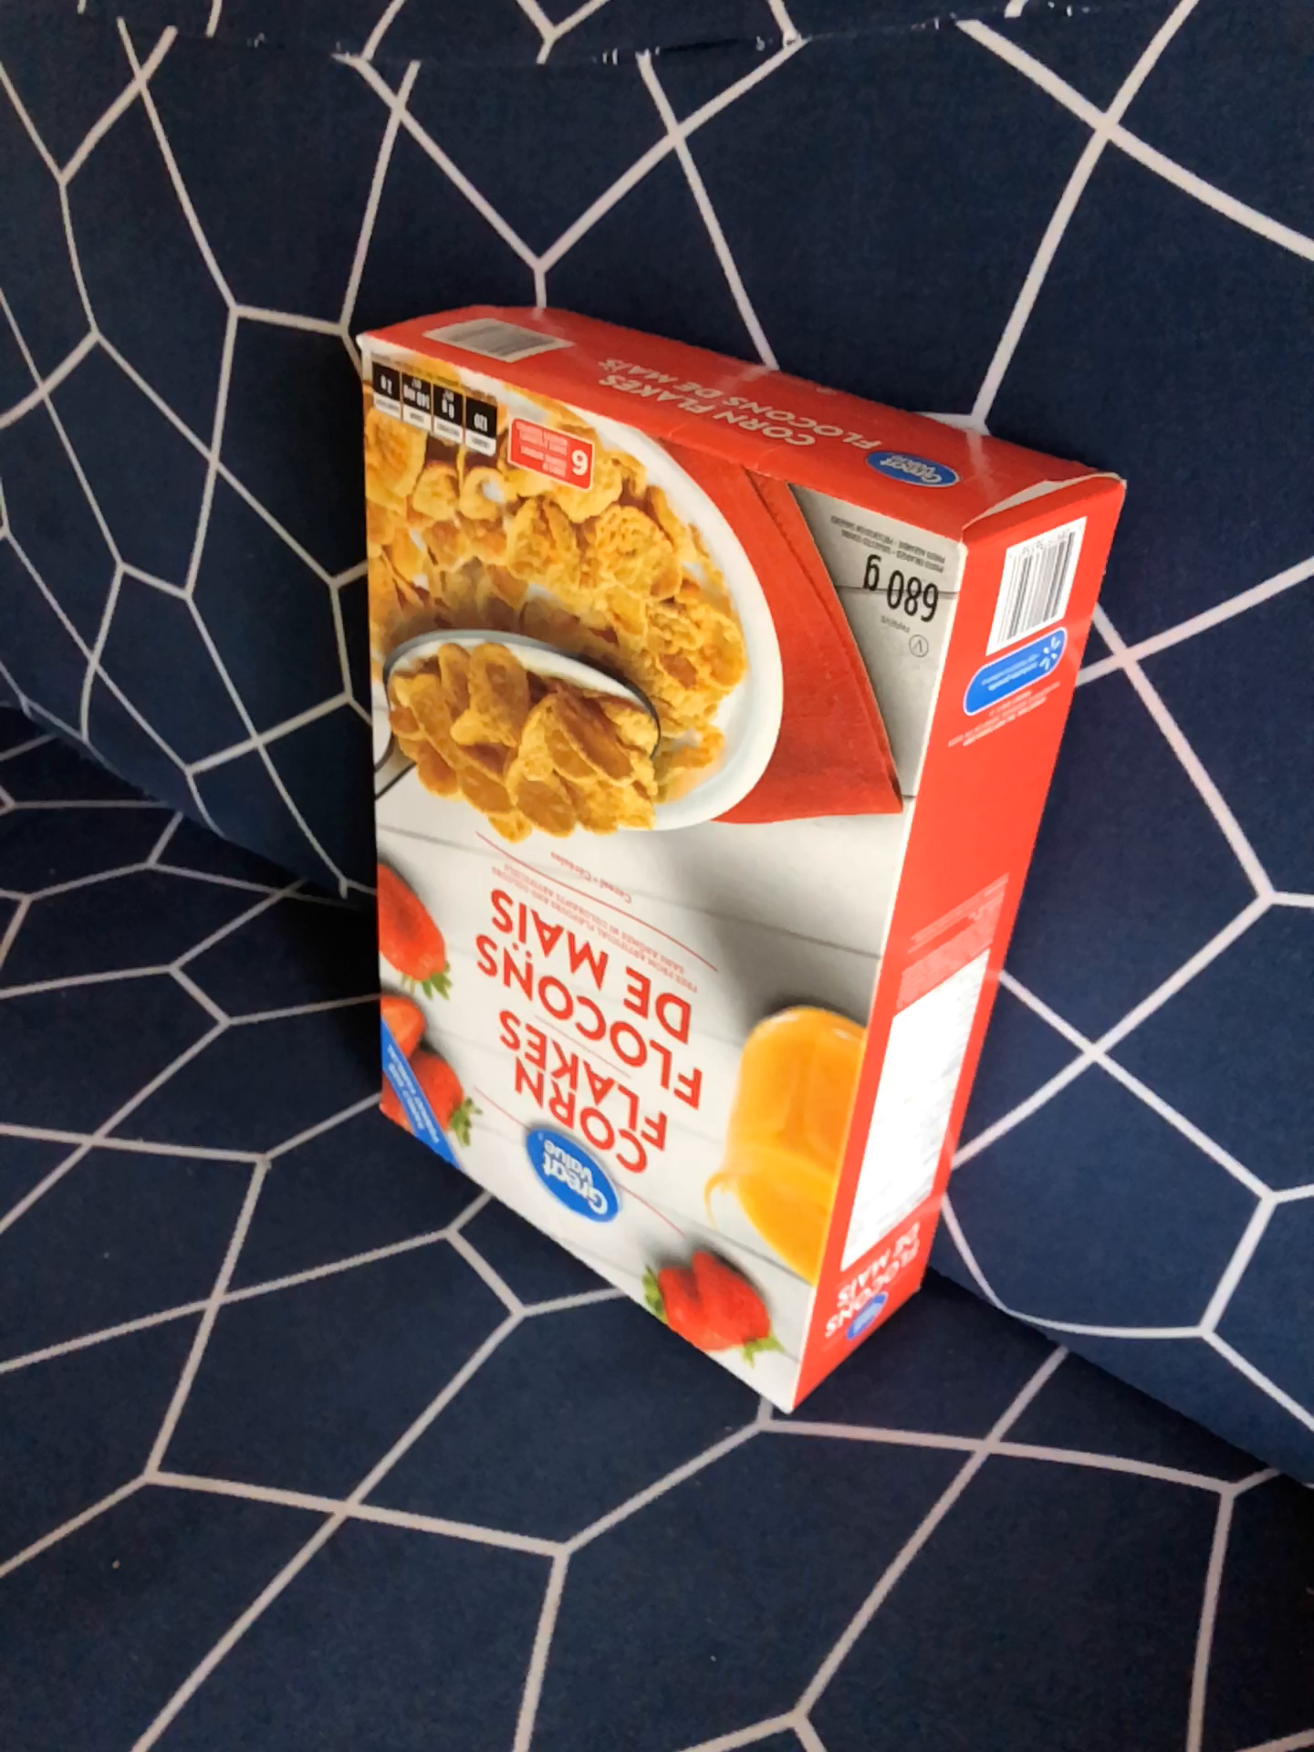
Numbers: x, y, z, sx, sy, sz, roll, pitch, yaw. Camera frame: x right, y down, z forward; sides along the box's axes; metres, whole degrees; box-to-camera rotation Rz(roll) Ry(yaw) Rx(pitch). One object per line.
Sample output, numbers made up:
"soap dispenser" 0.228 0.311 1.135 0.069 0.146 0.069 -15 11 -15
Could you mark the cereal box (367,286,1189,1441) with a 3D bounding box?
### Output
"cereal box" 0.013 -0.009 0.495 0.221 0.318 0.100 28 37 32
